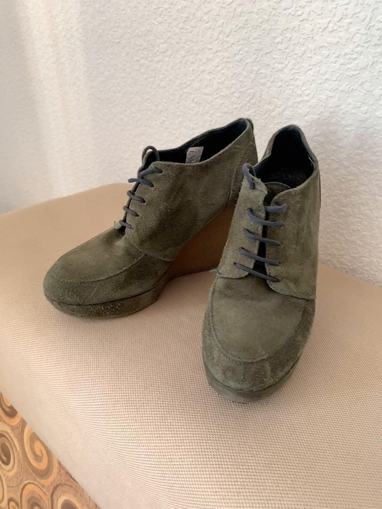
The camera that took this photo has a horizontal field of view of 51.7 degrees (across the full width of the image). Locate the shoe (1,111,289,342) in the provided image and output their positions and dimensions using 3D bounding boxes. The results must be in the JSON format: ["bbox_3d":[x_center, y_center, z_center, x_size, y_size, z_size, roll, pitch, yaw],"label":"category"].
[{"bbox_3d":[-0.031,-0.040,0.372,0.229,0.136,0.087,-20,39,-28],"label":"shoe"}]

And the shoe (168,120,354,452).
[{"bbox_3d":[0.075,-0.005,0.341,0.080,0.139,0.271,13,36,18],"label":"shoe"}]
